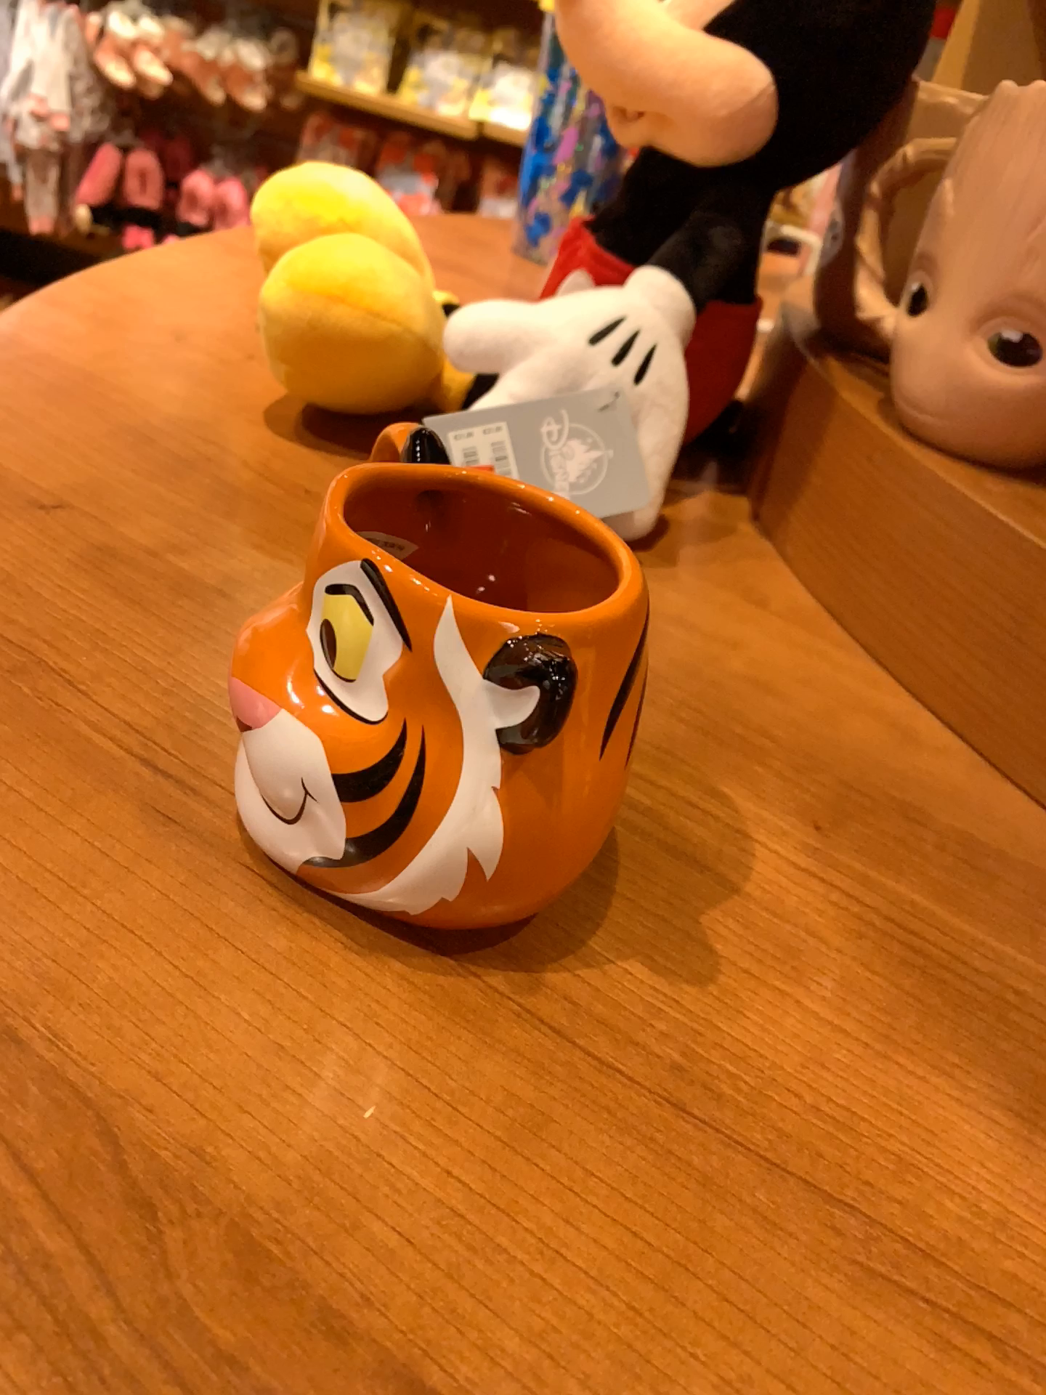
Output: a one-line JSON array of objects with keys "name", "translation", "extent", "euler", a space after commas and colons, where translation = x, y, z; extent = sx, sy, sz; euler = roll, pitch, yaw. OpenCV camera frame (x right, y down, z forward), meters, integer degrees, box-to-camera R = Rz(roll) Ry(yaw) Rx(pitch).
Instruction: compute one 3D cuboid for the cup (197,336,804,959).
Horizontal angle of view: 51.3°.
[{"name": "cup", "translation": [-0.022, -0.021, 0.292], "extent": [0.106, 0.086, 0.151], "euler": [2, 35, -23]}]
